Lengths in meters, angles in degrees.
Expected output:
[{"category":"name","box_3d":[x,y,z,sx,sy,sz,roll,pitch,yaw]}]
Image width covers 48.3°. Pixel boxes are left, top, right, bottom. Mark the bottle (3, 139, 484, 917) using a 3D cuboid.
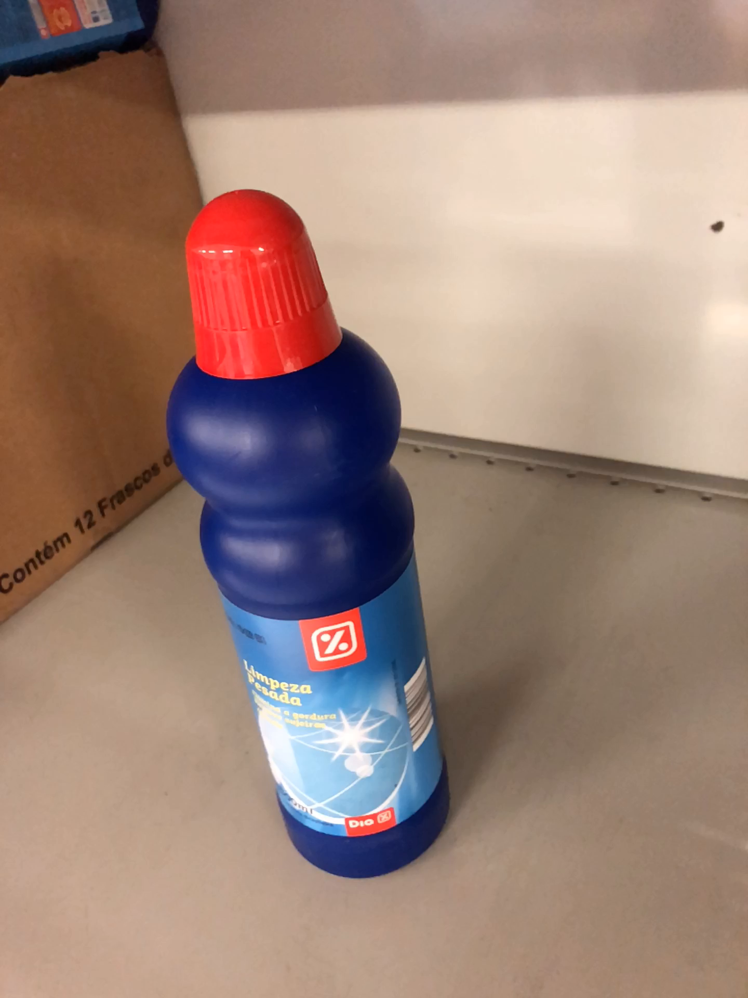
[{"category":"bottle","box_3d":[-0.018,0.024,0.263,0.070,0.238,0.070,-7,34,5]}]
